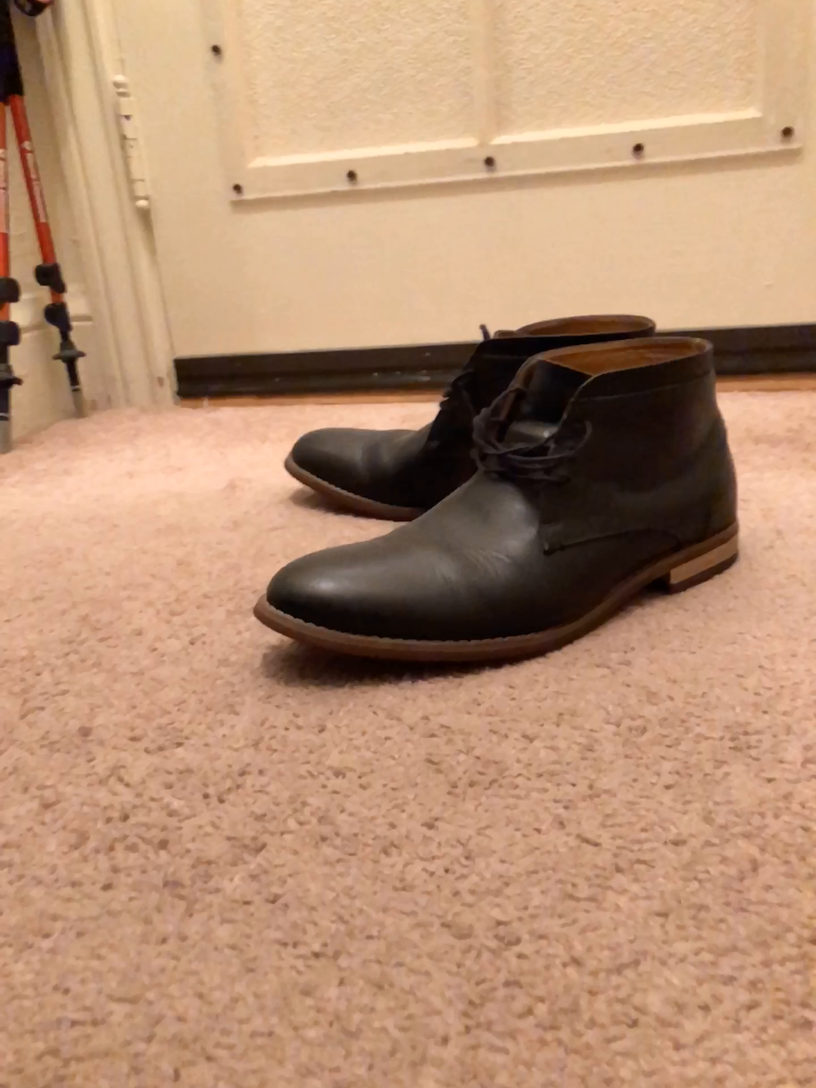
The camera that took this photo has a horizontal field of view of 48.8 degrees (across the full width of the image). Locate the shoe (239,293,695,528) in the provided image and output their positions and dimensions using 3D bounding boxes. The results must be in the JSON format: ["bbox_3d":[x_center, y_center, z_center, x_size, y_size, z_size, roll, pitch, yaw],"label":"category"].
[{"bbox_3d":[0.049,-0.099,0.657,0.302,0.135,0.117,1,21,16],"label":"shoe"}]

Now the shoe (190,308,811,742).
[{"bbox_3d":[0.060,-0.033,0.475,0.303,0.135,0.116,-16,23,-28],"label":"shoe"}]
